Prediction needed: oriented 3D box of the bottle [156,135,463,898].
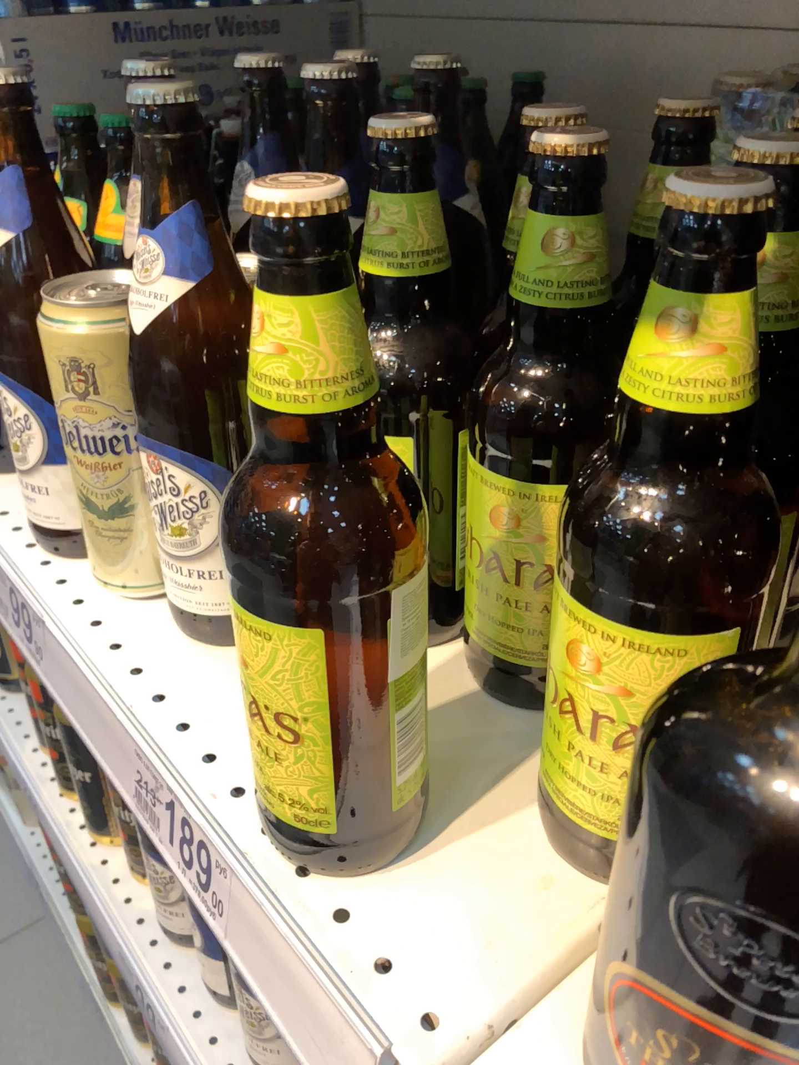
[{"bbox_3d":[-0.022,0.009,0.296,0.070,0.250,0.070,-1,32,0],"label":"bottle"}]
